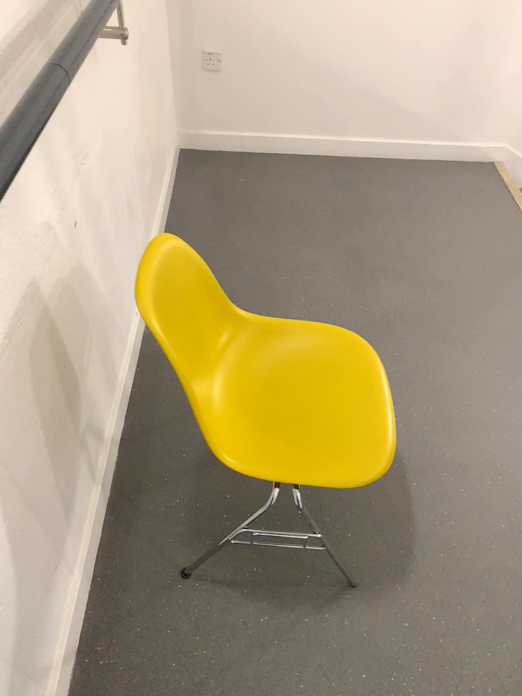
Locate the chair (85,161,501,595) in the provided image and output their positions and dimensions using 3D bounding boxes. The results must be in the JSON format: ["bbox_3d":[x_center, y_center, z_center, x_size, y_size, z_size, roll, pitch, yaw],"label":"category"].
[{"bbox_3d":[0.041,0.093,1.193,0.560,0.733,0.626,3,48,0],"label":"chair"}]
